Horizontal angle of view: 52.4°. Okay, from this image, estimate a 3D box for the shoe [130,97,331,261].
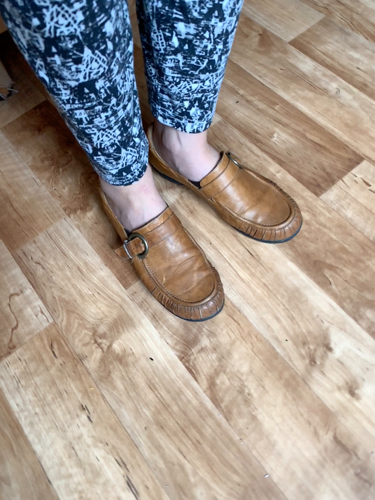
[{"bbox_3d":[0.042,-0.081,0.419,0.190,0.070,0.080,31,72,19],"label":"shoe"}]

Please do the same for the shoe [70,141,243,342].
[{"bbox_3d":[-0.034,-0.012,0.399,0.080,0.070,0.190,-33,66,-10],"label":"shoe"}]
